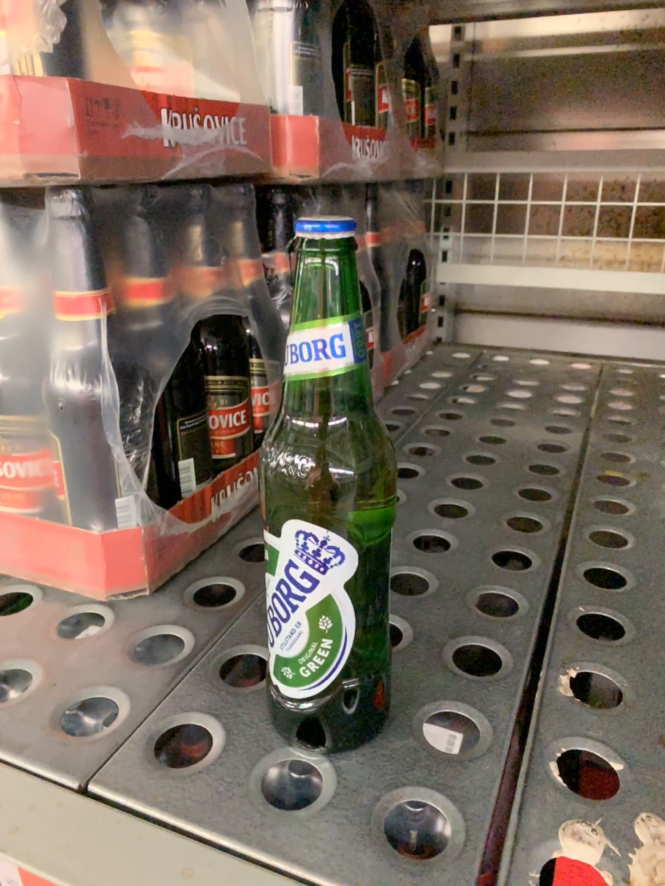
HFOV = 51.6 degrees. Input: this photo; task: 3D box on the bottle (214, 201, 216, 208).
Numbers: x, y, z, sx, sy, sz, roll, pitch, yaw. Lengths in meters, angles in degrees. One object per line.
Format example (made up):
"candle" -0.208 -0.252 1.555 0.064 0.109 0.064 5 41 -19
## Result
"bottle" -3.142 -6.398 18.399 0.052 0.169 0.050 0 20 0
